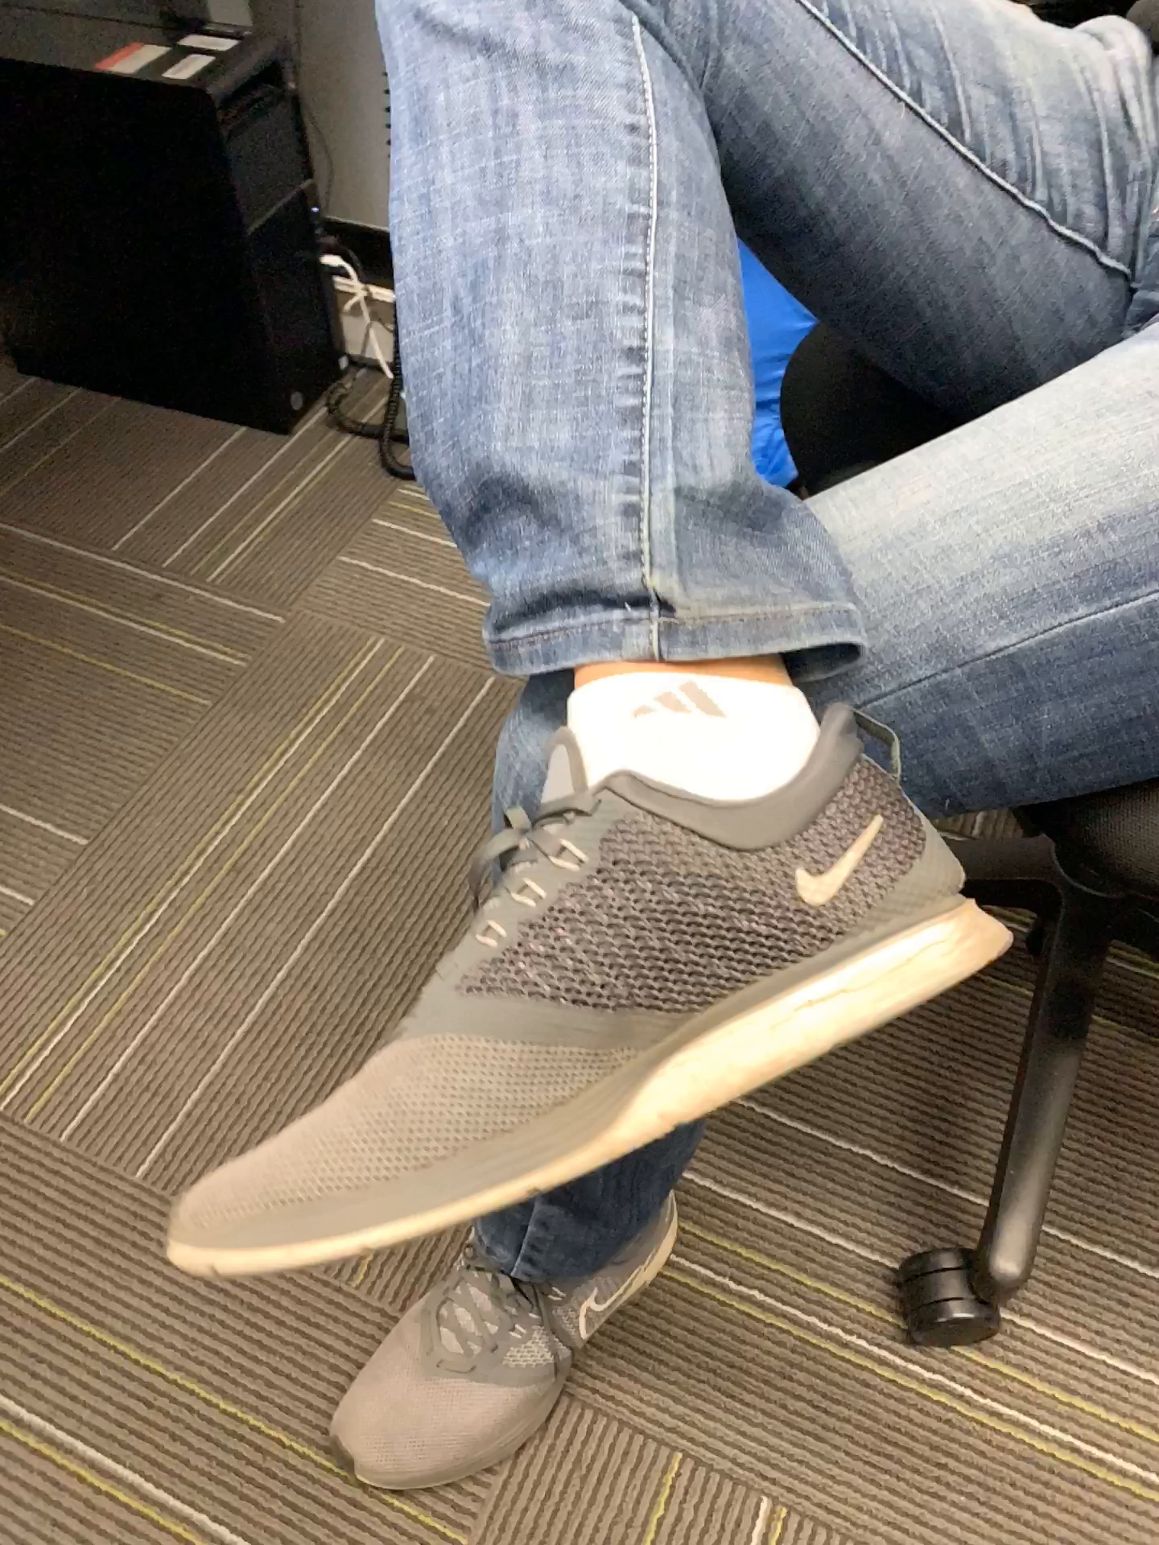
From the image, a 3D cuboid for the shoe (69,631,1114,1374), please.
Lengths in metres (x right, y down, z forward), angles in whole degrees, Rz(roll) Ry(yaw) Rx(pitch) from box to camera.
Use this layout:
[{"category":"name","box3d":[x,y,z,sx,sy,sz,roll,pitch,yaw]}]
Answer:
[{"category":"shoe","box3d":[0.001,0.073,0.415,0.295,0.121,0.134,-16,56,-14]}]

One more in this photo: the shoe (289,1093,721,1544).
[{"category":"shoe","box3d":[-0.043,0.377,0.835,0.288,0.092,0.113,-37,59,-25]}]
